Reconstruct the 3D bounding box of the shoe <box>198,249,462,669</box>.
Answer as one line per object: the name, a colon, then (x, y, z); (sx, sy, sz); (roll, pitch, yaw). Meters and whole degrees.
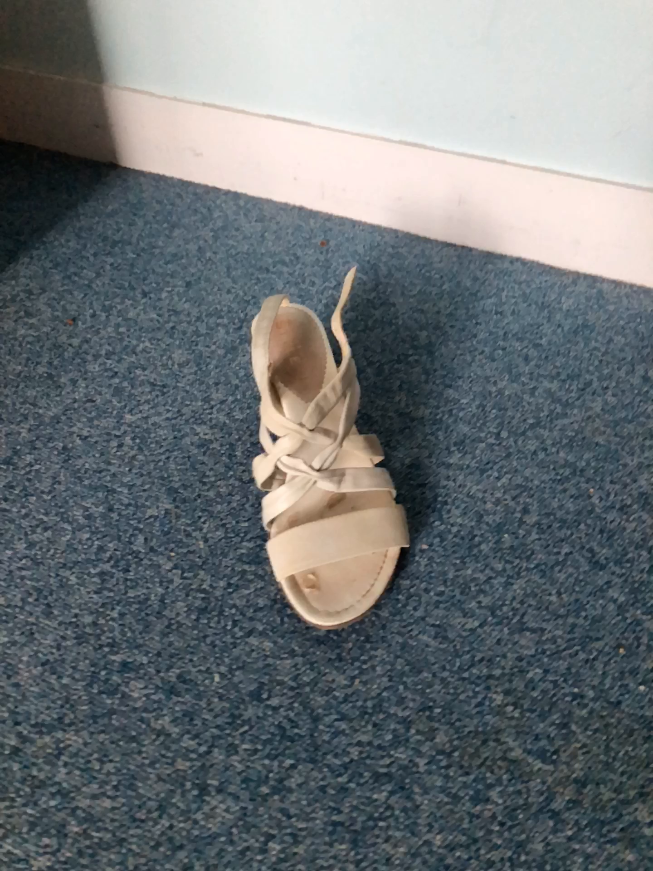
shoe: (-0.010, 0.001, 0.455); (0.100, 0.109, 0.241); (-10, 48, -9)
